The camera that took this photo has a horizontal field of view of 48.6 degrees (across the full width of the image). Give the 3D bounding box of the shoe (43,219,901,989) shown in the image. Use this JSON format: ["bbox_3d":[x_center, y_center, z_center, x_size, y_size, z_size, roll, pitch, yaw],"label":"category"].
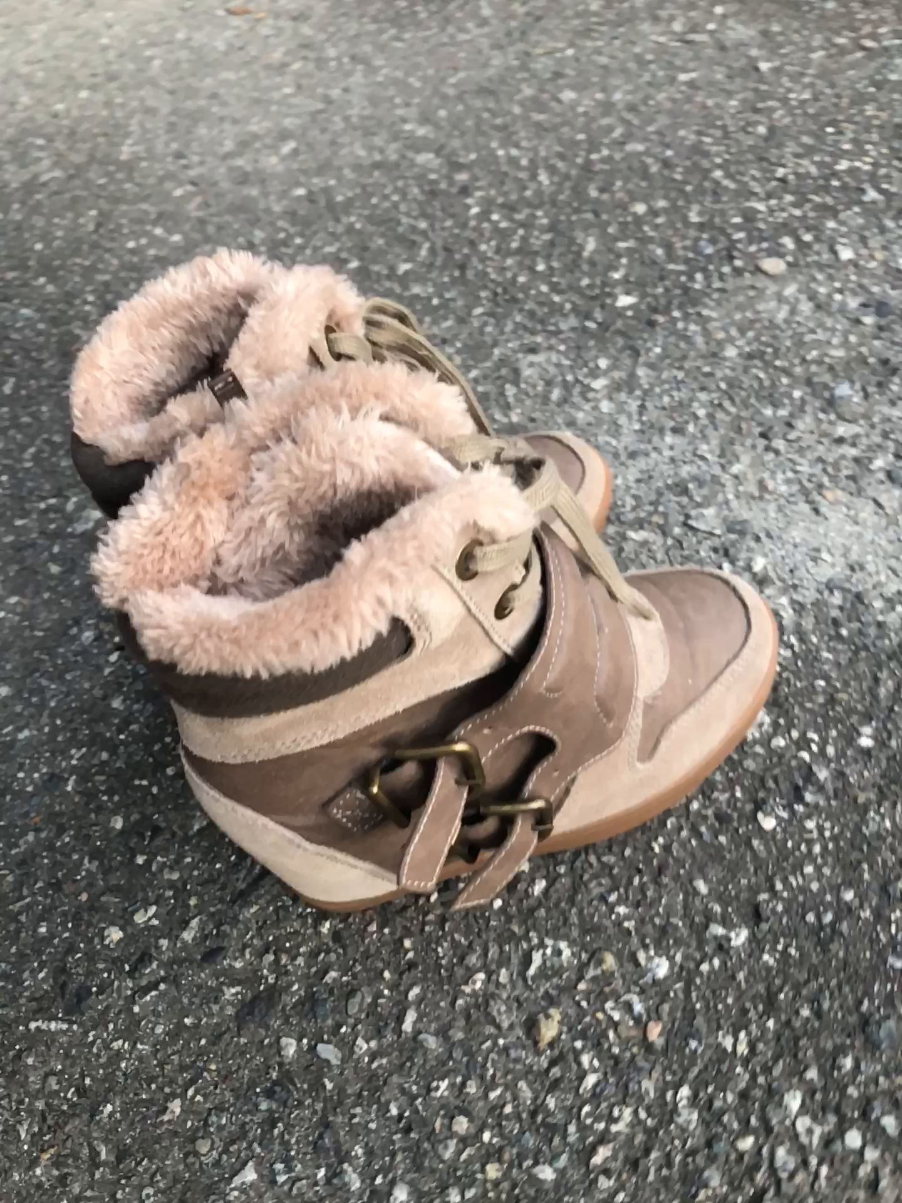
[{"bbox_3d":[0.020,0.010,0.336,0.230,0.179,0.091,-22,52,-9],"label":"shoe"}]

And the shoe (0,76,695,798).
[{"bbox_3d":[-0.032,-0.062,0.397,0.230,0.179,0.101,-29,53,-15],"label":"shoe"}]
